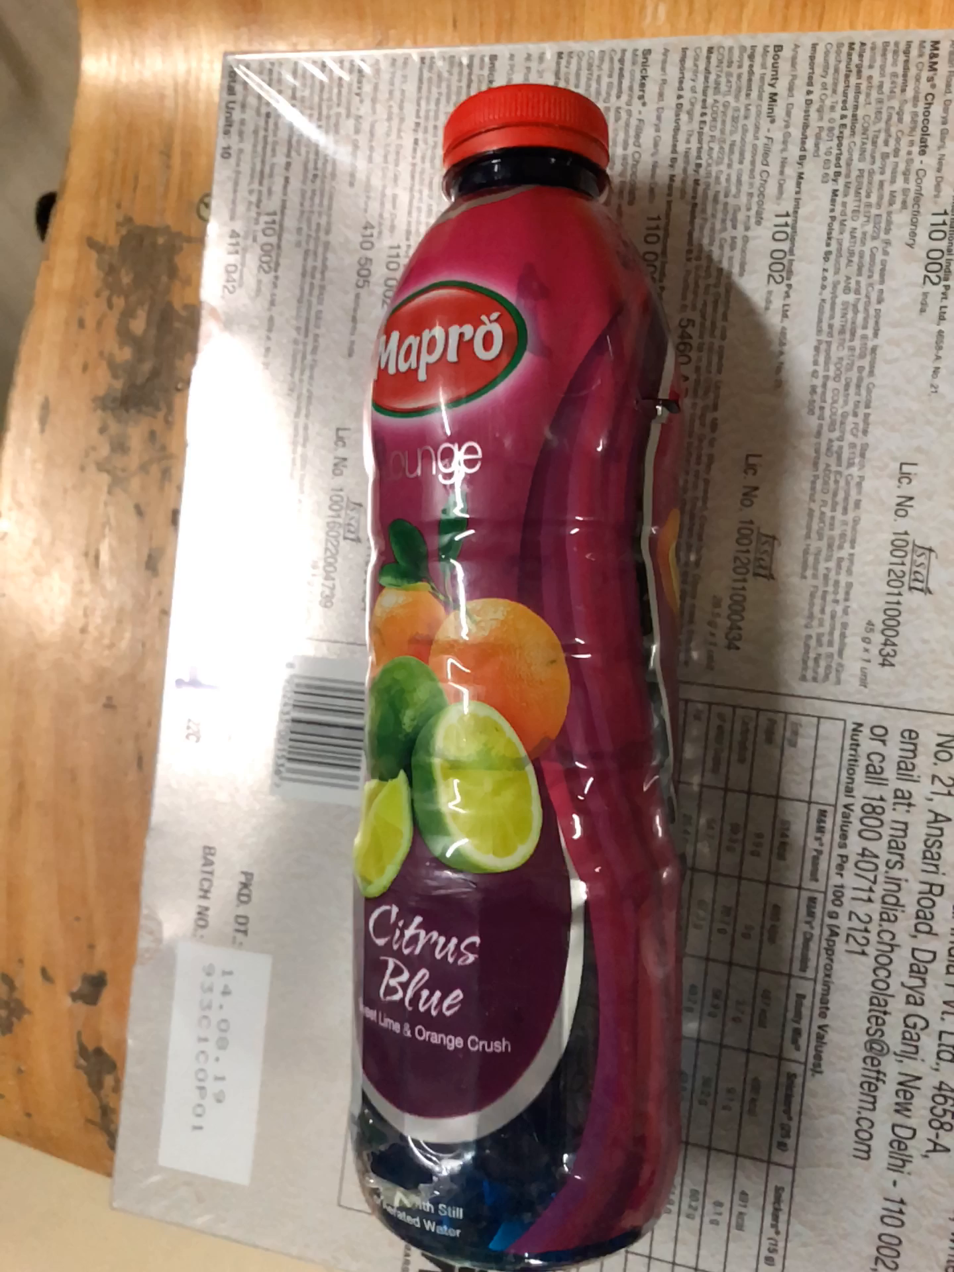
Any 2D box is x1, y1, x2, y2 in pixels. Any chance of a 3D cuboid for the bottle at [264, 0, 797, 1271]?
[{"bbox_3d":[0.012,-0.007,0.245,0.090,0.080,0.270,2,93,38],"label":"bottle"}]
